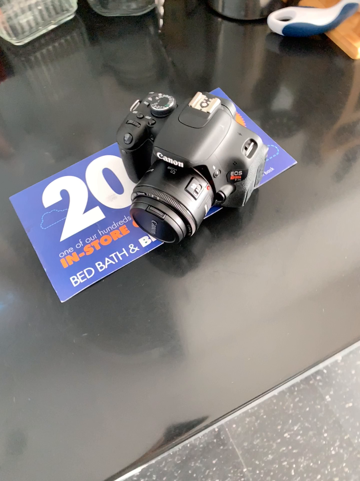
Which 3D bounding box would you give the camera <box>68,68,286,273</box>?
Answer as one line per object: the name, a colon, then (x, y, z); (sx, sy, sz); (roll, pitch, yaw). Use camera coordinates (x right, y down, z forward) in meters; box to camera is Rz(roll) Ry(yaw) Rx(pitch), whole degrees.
camera: (0.001, -0.067, 0.348); (0.140, 0.086, 0.124); (25, 67, 17)
